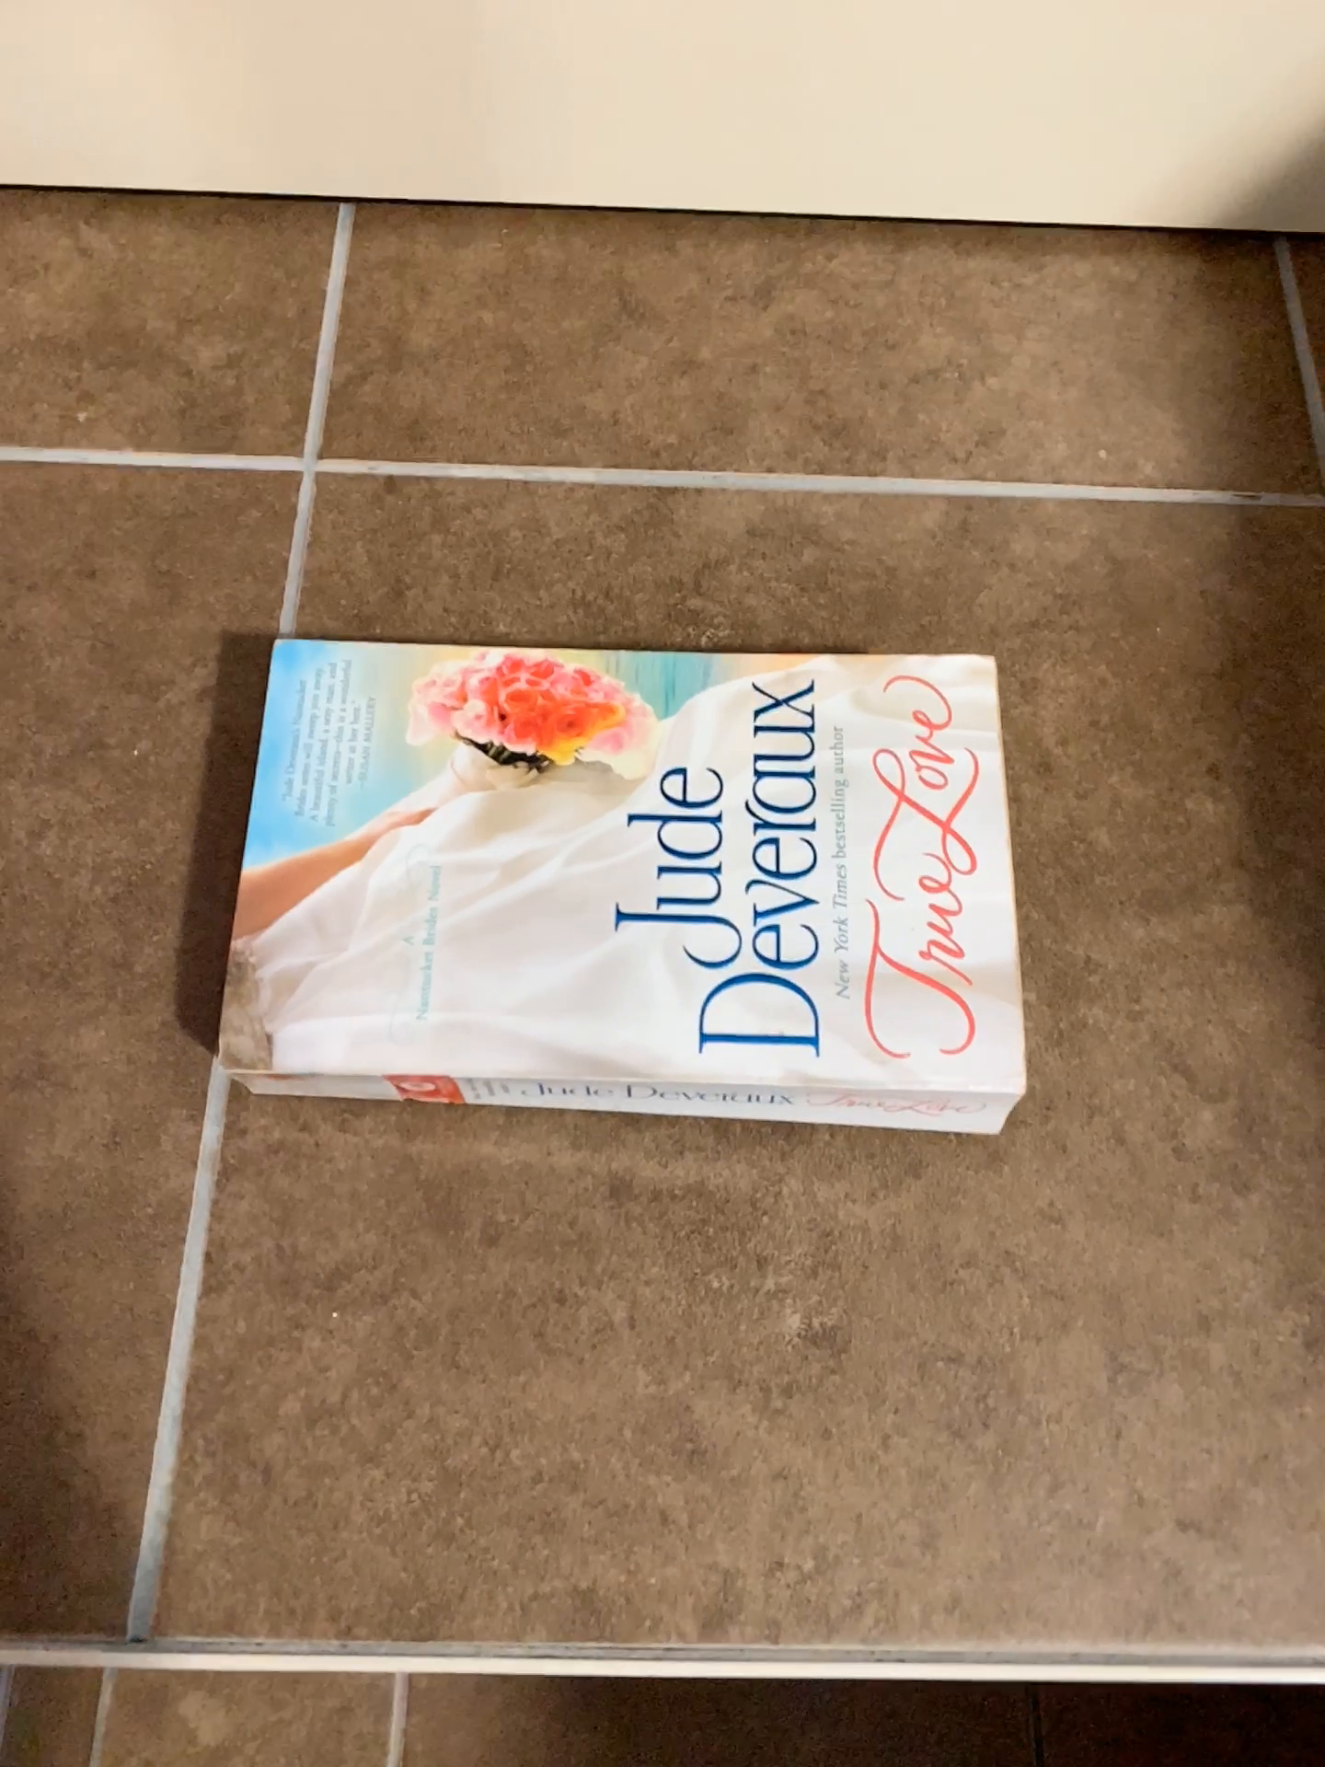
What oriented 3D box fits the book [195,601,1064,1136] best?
[{"bbox_3d":[-0.005,-0.003,0.321,0.179,0.047,0.106,3,68,-1],"label":"book"}]
